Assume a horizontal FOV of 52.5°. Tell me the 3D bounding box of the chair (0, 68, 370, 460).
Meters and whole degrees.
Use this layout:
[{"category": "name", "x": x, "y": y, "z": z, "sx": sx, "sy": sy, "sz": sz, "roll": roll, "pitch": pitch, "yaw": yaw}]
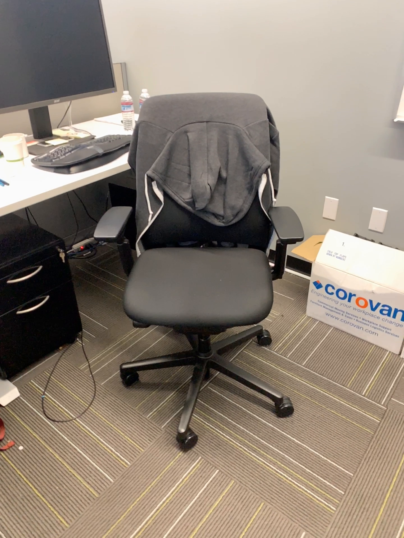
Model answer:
[{"category": "chair", "x": -0.009, "y": -0.075, "z": 1.468, "sx": 0.750, "sy": 1.073, "sz": 0.885, "roll": 2, "pitch": 32, "yaw": 4}]
